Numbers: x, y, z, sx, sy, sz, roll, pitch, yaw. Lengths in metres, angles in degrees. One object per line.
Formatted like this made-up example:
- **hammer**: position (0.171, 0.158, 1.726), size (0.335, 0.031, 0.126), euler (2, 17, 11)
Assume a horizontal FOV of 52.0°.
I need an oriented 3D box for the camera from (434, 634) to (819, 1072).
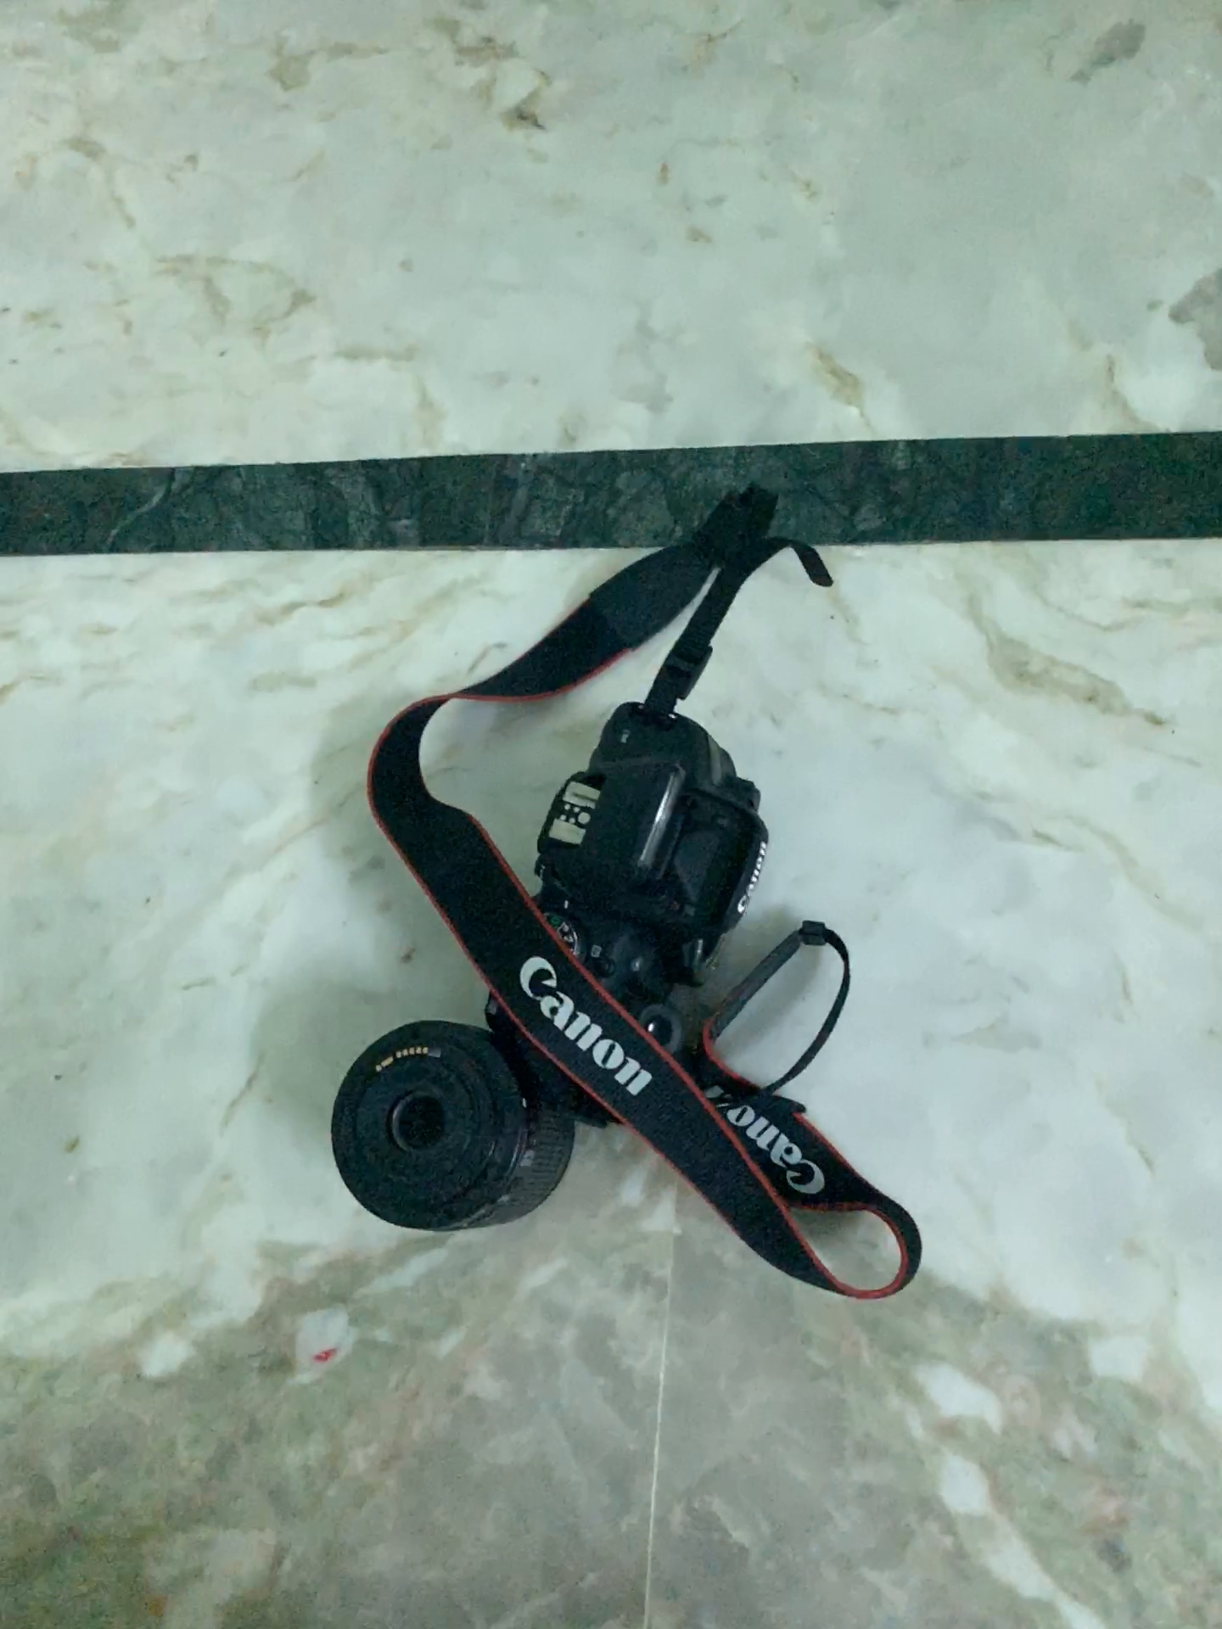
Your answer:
- **camera**: position (0.011, 0.015, 0.423), size (0.082, 0.078, 0.112), euler (18, 78, 17)
